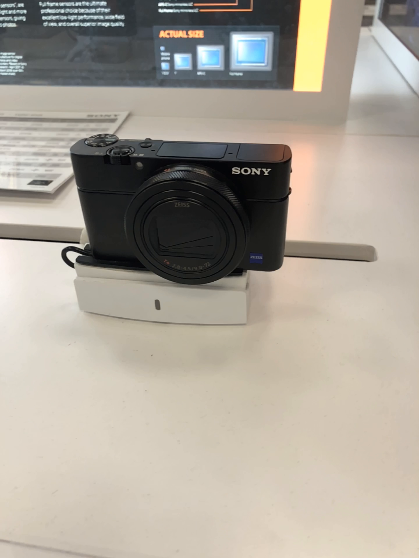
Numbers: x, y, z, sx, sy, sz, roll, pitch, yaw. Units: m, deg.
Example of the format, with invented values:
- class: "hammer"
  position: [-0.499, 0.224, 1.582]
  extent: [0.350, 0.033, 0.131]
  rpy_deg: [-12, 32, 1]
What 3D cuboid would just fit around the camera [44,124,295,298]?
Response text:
- class: "camera"
  position: [-0.016, -0.035, 0.238]
  extent: [0.110, 0.070, 0.040]
  rpy_deg: [5, 36, 8]
